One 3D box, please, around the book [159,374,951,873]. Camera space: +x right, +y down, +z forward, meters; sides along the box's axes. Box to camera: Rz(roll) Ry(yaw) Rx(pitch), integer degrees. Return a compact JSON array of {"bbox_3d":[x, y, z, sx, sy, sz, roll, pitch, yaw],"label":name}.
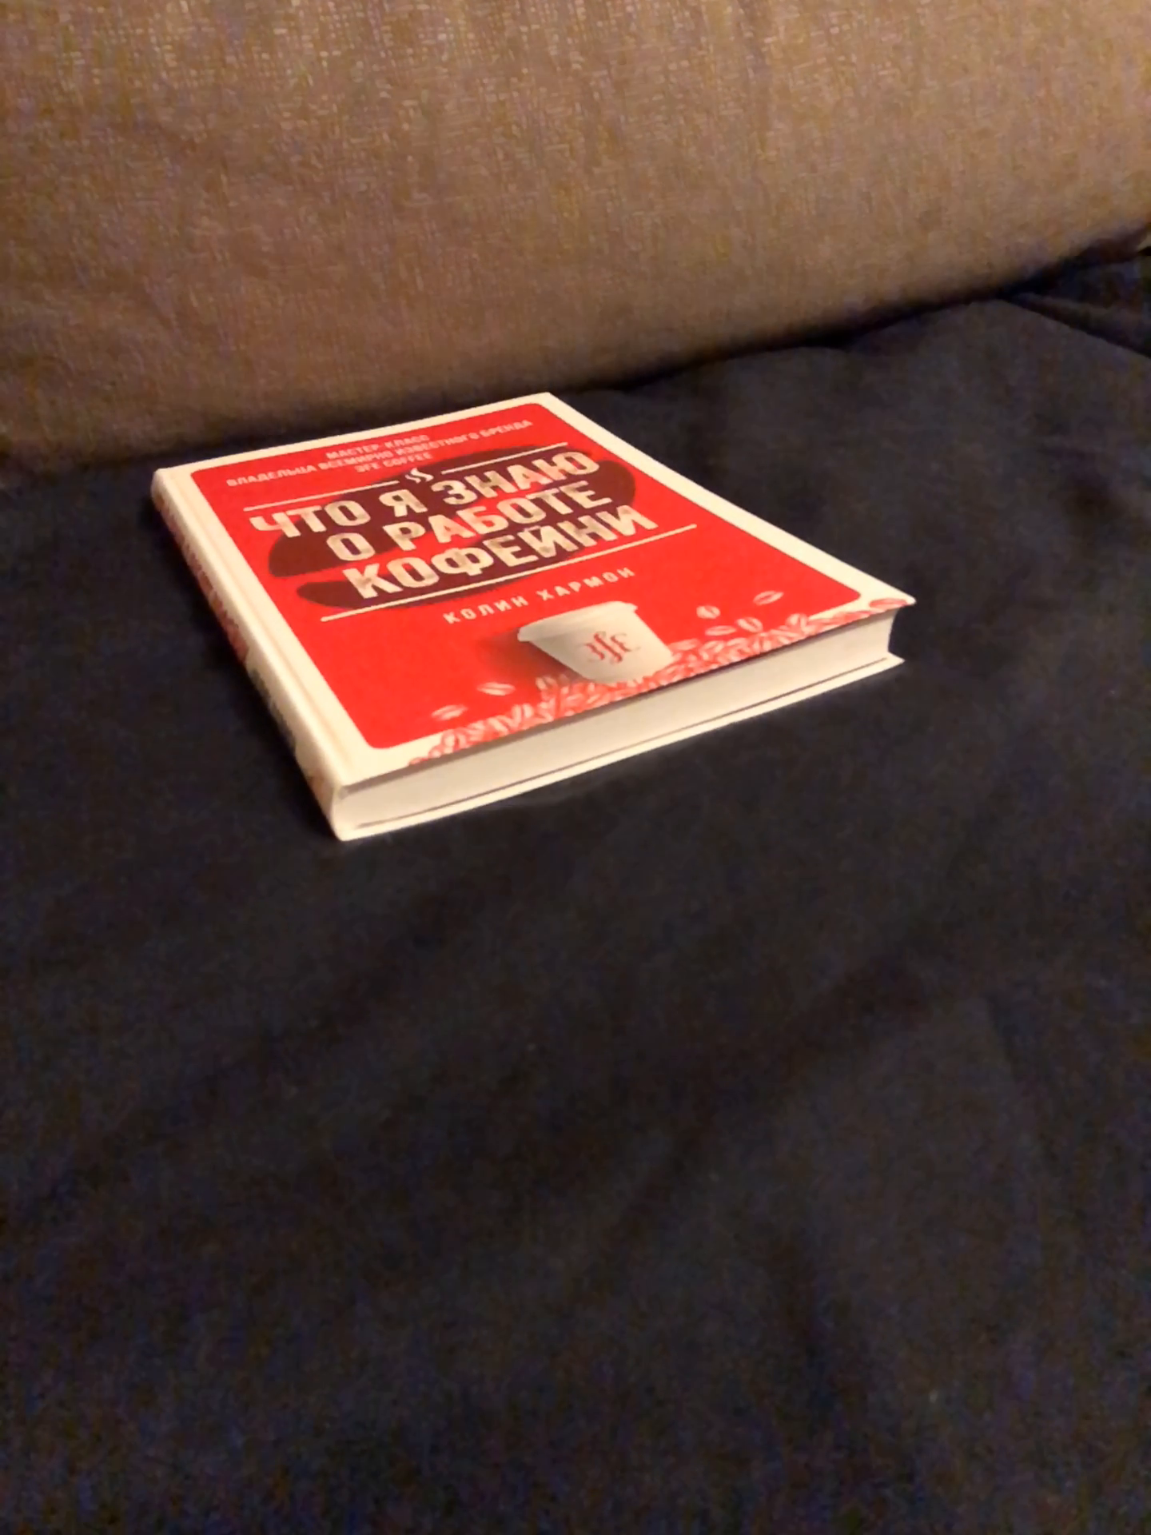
[{"bbox_3d":[-0.024,-0.063,0.373,0.153,0.020,0.223,-18,36,-18],"label":"book"}]
